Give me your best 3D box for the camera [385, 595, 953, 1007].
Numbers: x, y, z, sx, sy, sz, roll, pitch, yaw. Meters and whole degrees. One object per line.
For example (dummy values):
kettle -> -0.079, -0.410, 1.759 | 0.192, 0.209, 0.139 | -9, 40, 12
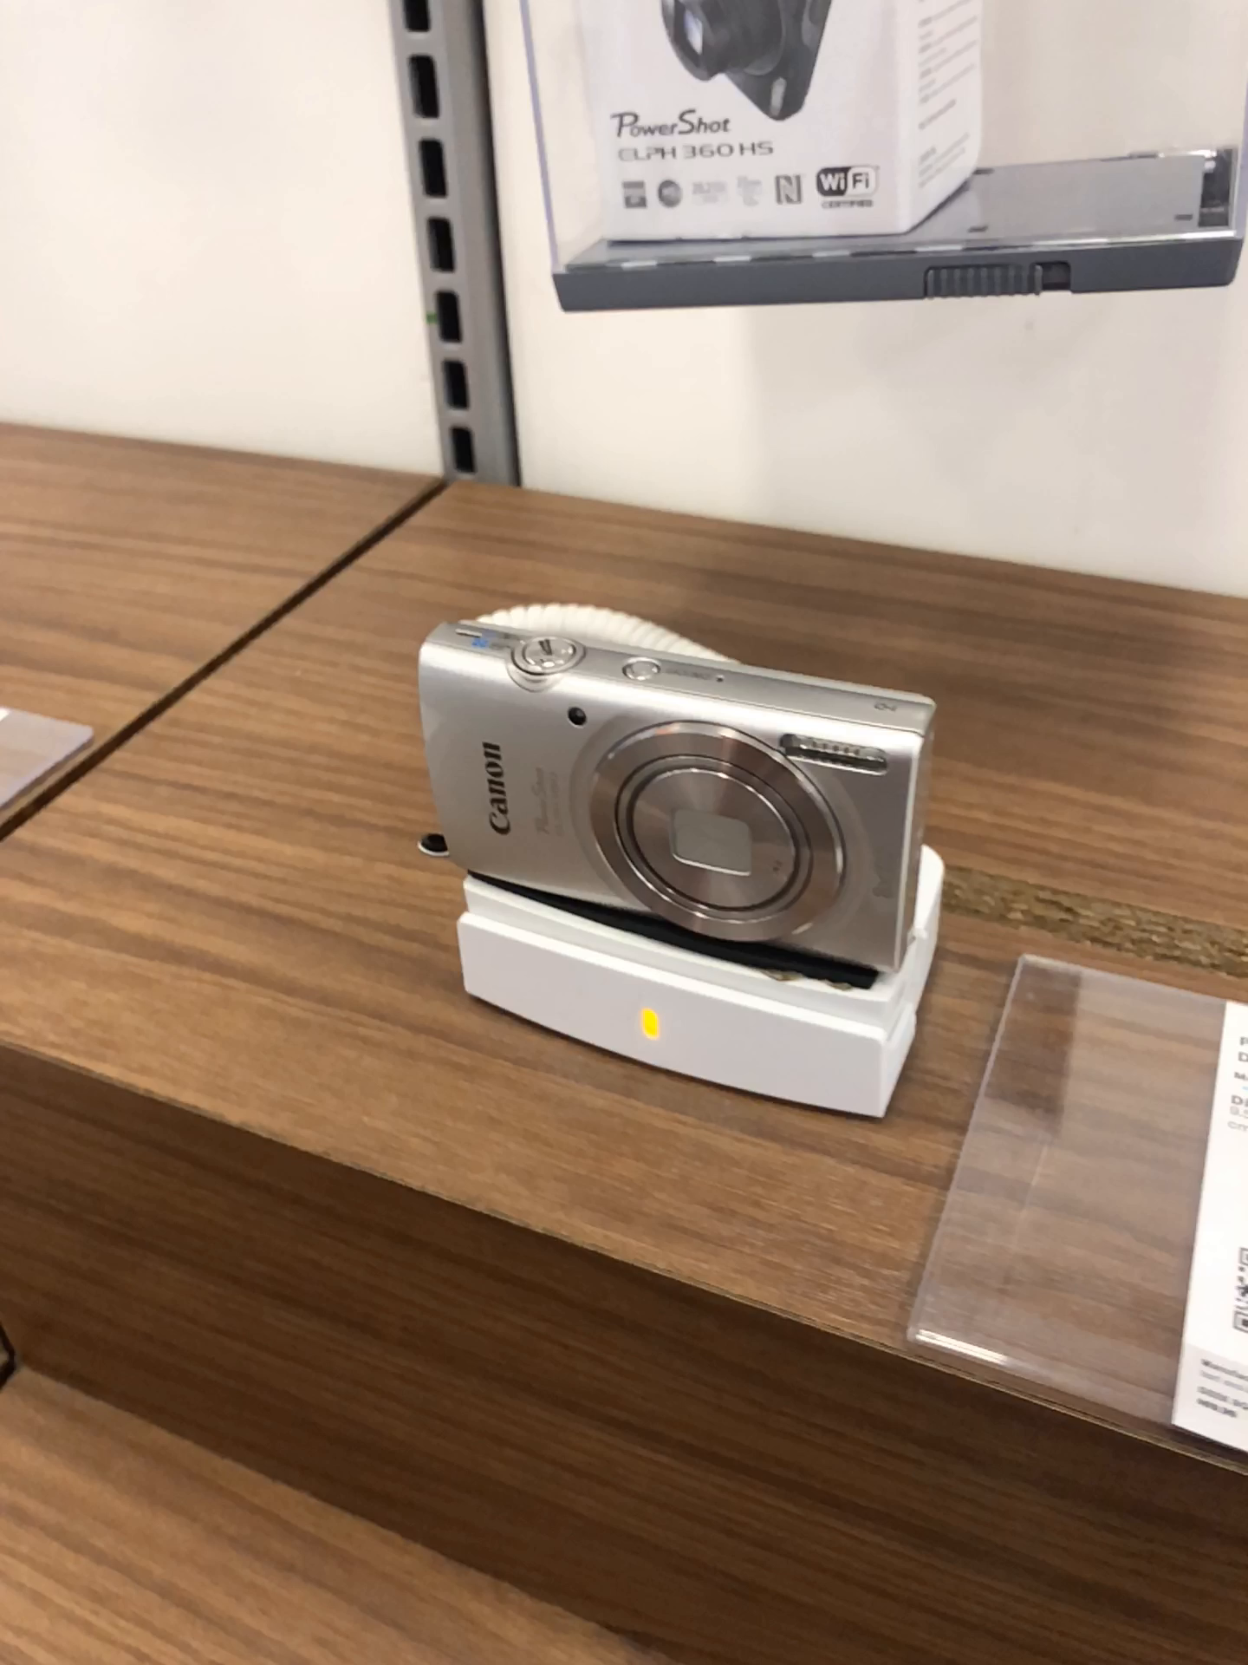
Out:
camera -> 0.008, -0.007, 0.266 | 0.100, 0.060, 0.020 | 13, 44, 21
